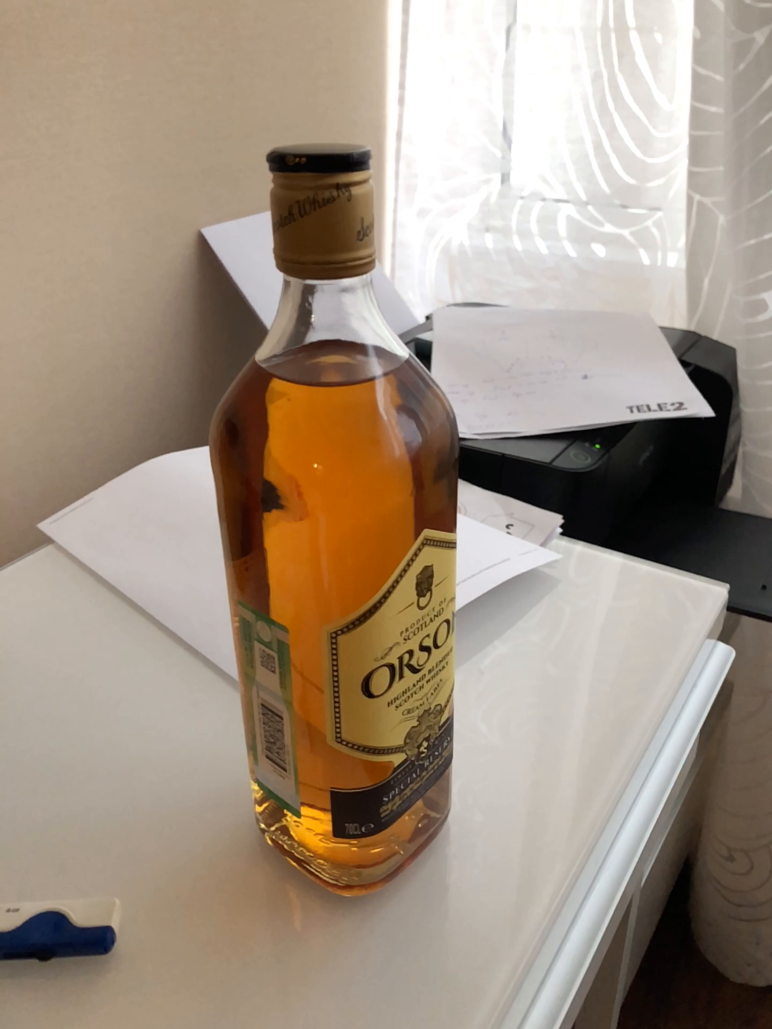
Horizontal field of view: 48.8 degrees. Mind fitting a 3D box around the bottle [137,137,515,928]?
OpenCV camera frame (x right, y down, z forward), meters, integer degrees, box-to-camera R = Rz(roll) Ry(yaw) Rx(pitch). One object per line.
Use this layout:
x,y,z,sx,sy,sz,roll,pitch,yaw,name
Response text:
-0.013,0.013,0.300,0.070,0.258,0.080,22,36,37,bottle
